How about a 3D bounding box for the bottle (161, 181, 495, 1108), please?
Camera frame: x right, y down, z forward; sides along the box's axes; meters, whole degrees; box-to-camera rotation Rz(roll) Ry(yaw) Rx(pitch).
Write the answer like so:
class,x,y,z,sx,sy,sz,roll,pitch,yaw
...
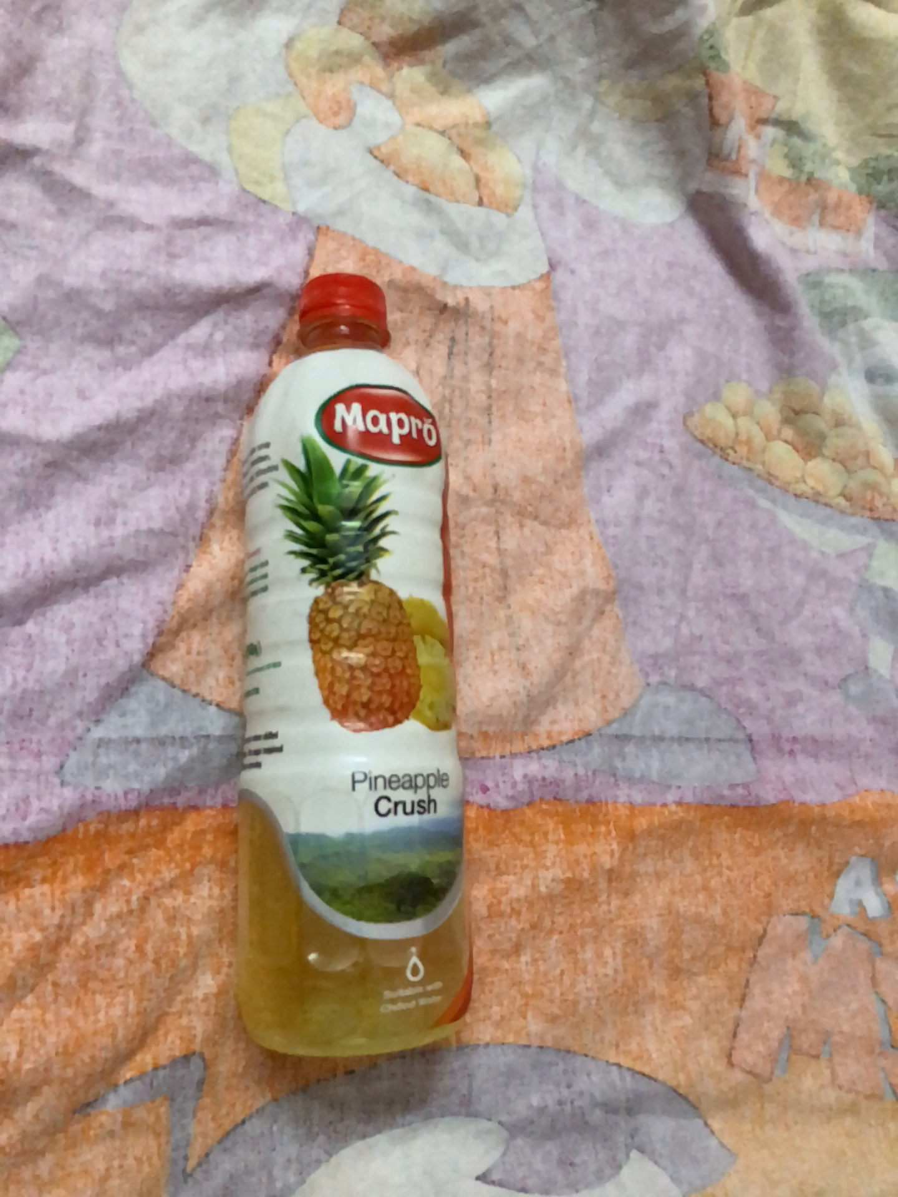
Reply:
class,x,y,z,sx,sy,sz,roll,pitch,yaw
bottle,-0.038,0.010,0.311,0.080,0.060,0.250,5,79,-32
